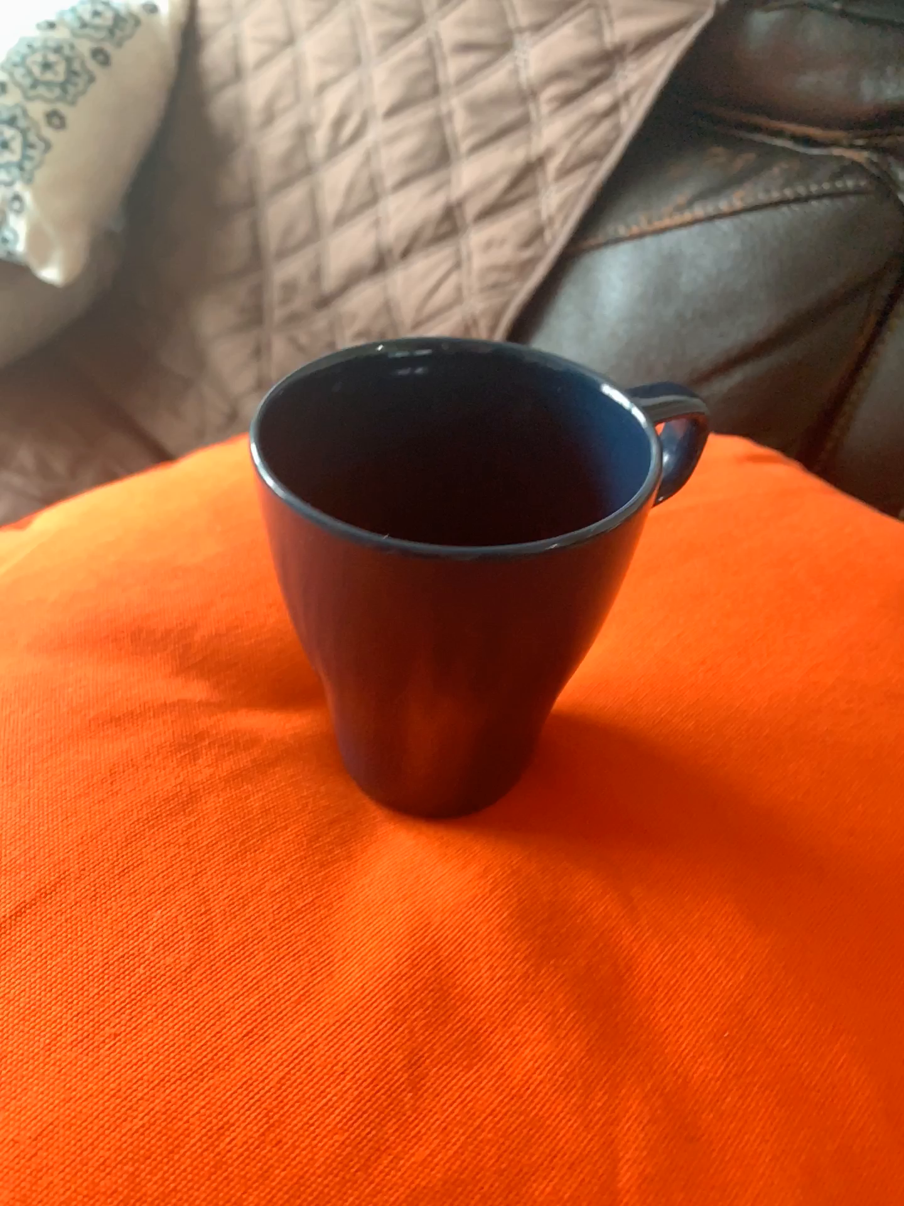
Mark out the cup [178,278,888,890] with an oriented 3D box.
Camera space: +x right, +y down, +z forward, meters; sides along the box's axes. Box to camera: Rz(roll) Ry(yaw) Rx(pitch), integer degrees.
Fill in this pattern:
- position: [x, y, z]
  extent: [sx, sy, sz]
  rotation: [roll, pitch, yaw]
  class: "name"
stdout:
- position: [0.013, -0.012, 0.218]
  extent: [0.120, 0.079, 0.081]
  rotation: [-17, 47, -23]
  class: "cup"
